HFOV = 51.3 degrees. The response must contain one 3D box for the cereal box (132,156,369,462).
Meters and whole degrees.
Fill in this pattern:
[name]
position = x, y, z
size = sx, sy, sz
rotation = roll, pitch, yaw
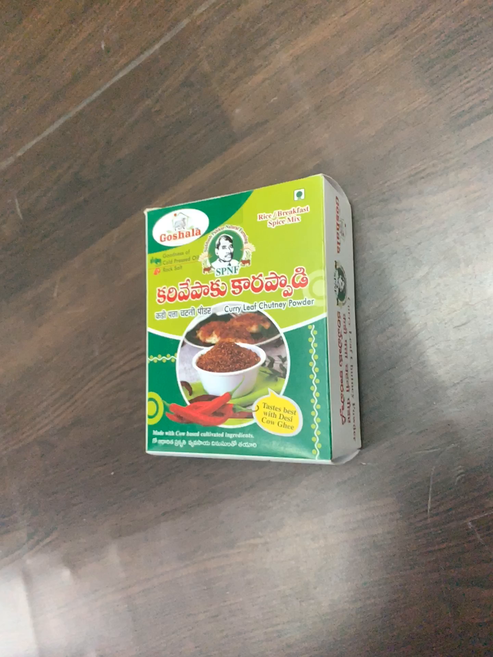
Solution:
[cereal box]
position = -0.001, -0.004, 0.240
size = 0.100, 0.040, 0.120
rotation = -5, 82, 28
